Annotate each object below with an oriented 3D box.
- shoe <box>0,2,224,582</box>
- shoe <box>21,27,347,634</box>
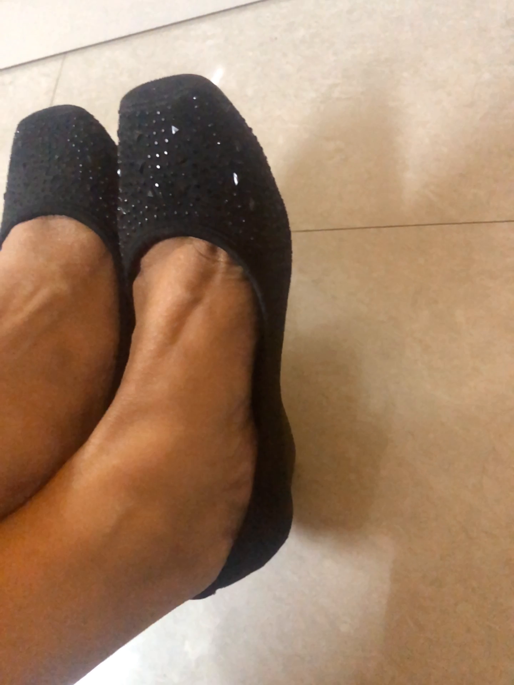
[{"bbox_3d":[-0.098,-0.016,0.313,0.100,0.070,0.270,-7,95,18],"label":"shoe"},{"bbox_3d":[-0.024,0.000,0.270,0.100,0.070,0.239,3,108,28],"label":"shoe"}]
